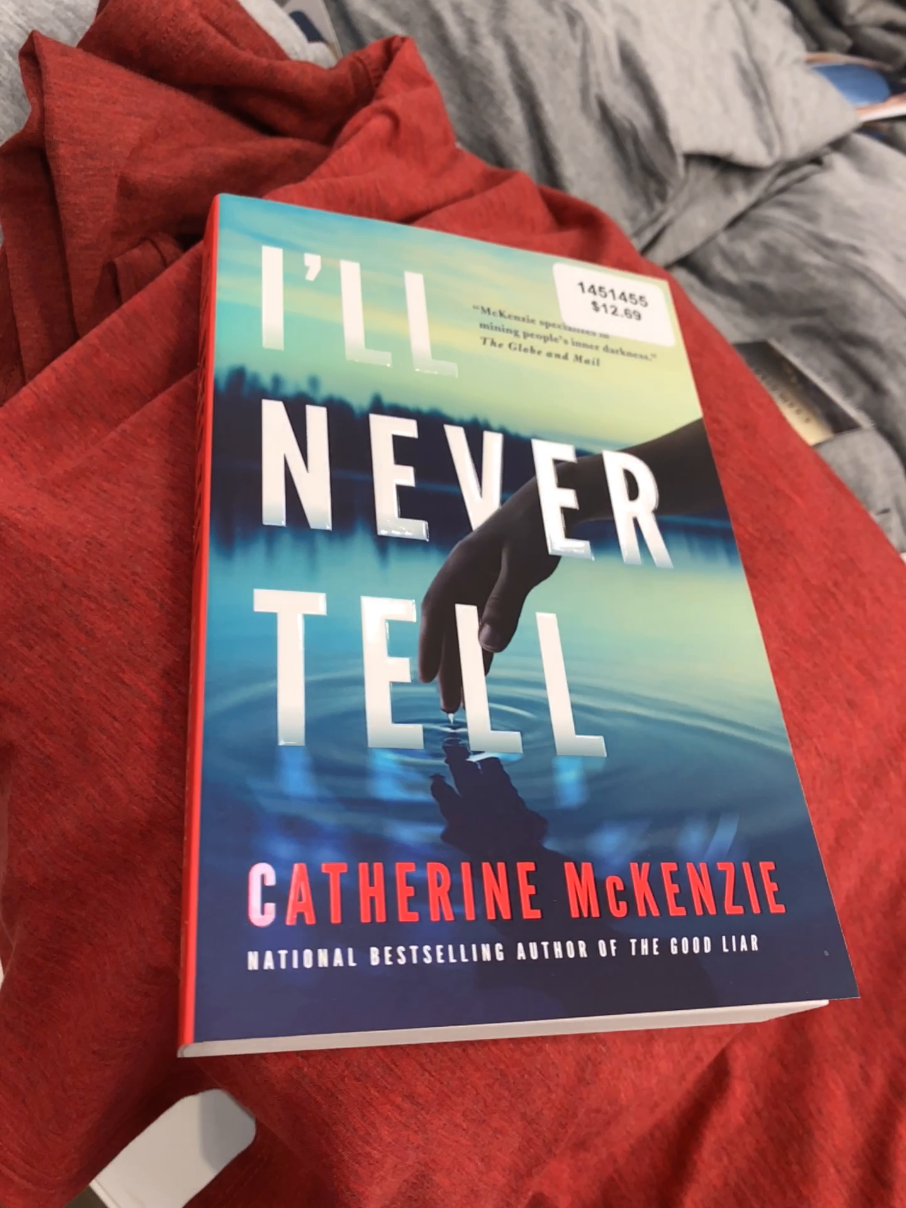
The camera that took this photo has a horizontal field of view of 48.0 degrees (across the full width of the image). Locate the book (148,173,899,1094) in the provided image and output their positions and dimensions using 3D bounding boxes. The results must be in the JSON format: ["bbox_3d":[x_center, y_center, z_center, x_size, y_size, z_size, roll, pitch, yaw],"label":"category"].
[{"bbox_3d":[0.007,-0.005,0.245,0.144,0.032,0.209,5,60,-19],"label":"book"}]
